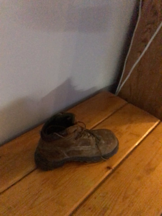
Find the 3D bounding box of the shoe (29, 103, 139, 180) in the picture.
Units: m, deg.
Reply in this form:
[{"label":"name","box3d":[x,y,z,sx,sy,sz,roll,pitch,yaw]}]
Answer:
[{"label":"shoe","box3d":[0.002,0.091,0.550,0.290,0.130,0.130,-8,40,-19]}]
